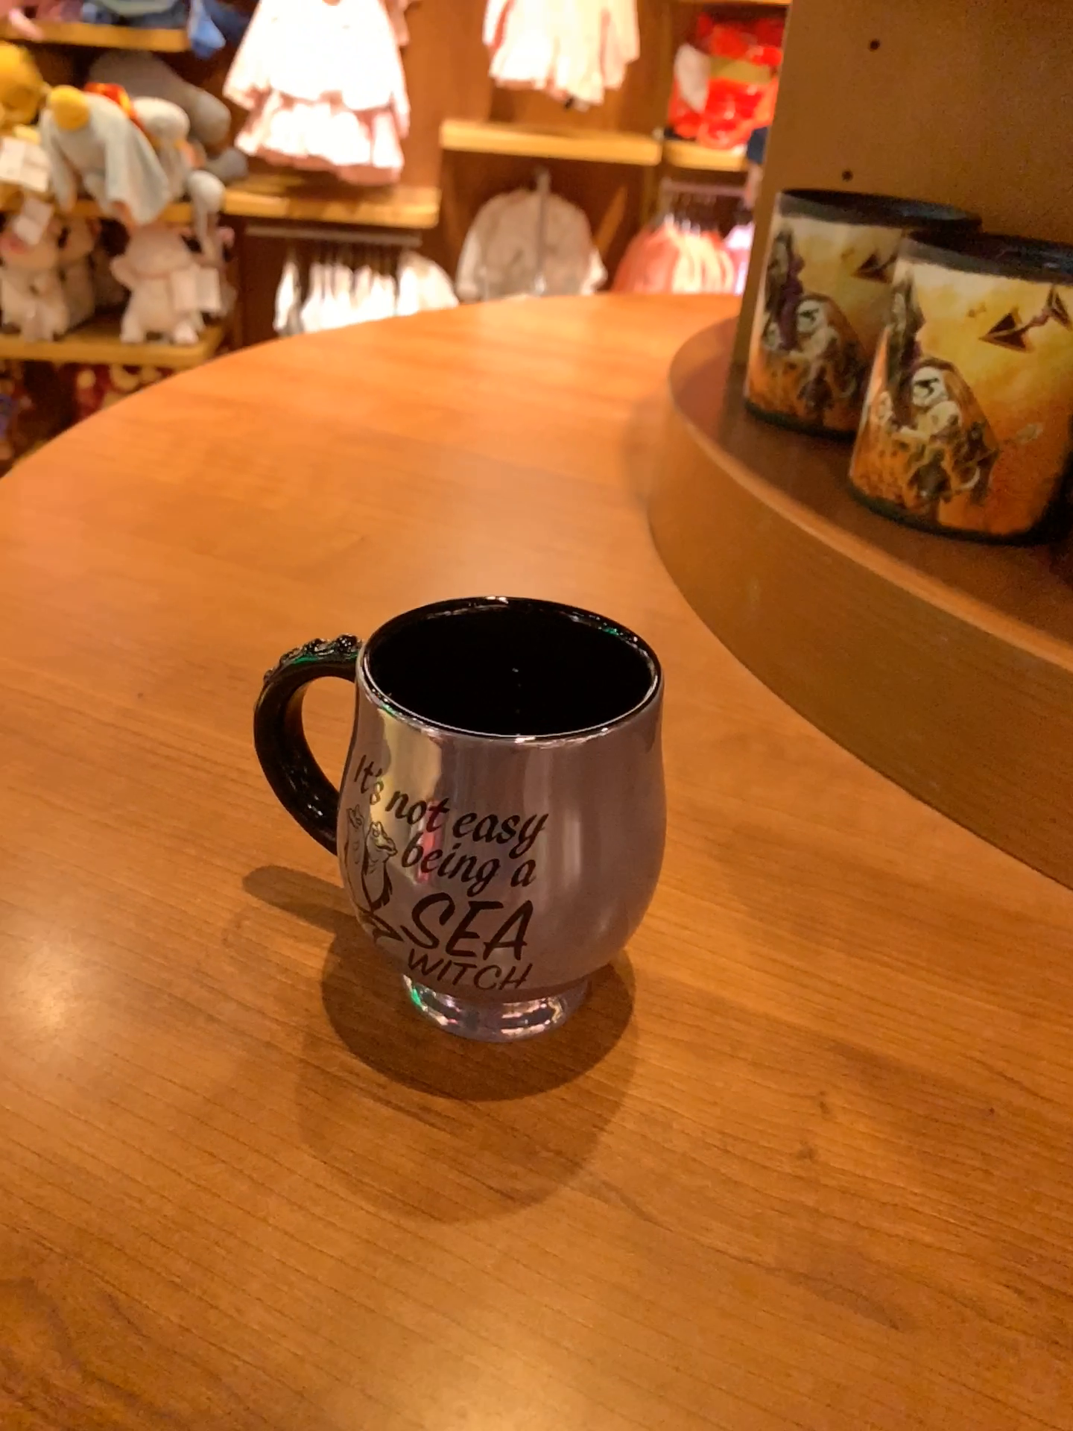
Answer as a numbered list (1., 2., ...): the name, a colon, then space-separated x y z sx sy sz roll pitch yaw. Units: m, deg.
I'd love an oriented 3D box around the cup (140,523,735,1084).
1. cup: -0.024 0.016 0.305 0.125 0.089 0.087 16 33 18
